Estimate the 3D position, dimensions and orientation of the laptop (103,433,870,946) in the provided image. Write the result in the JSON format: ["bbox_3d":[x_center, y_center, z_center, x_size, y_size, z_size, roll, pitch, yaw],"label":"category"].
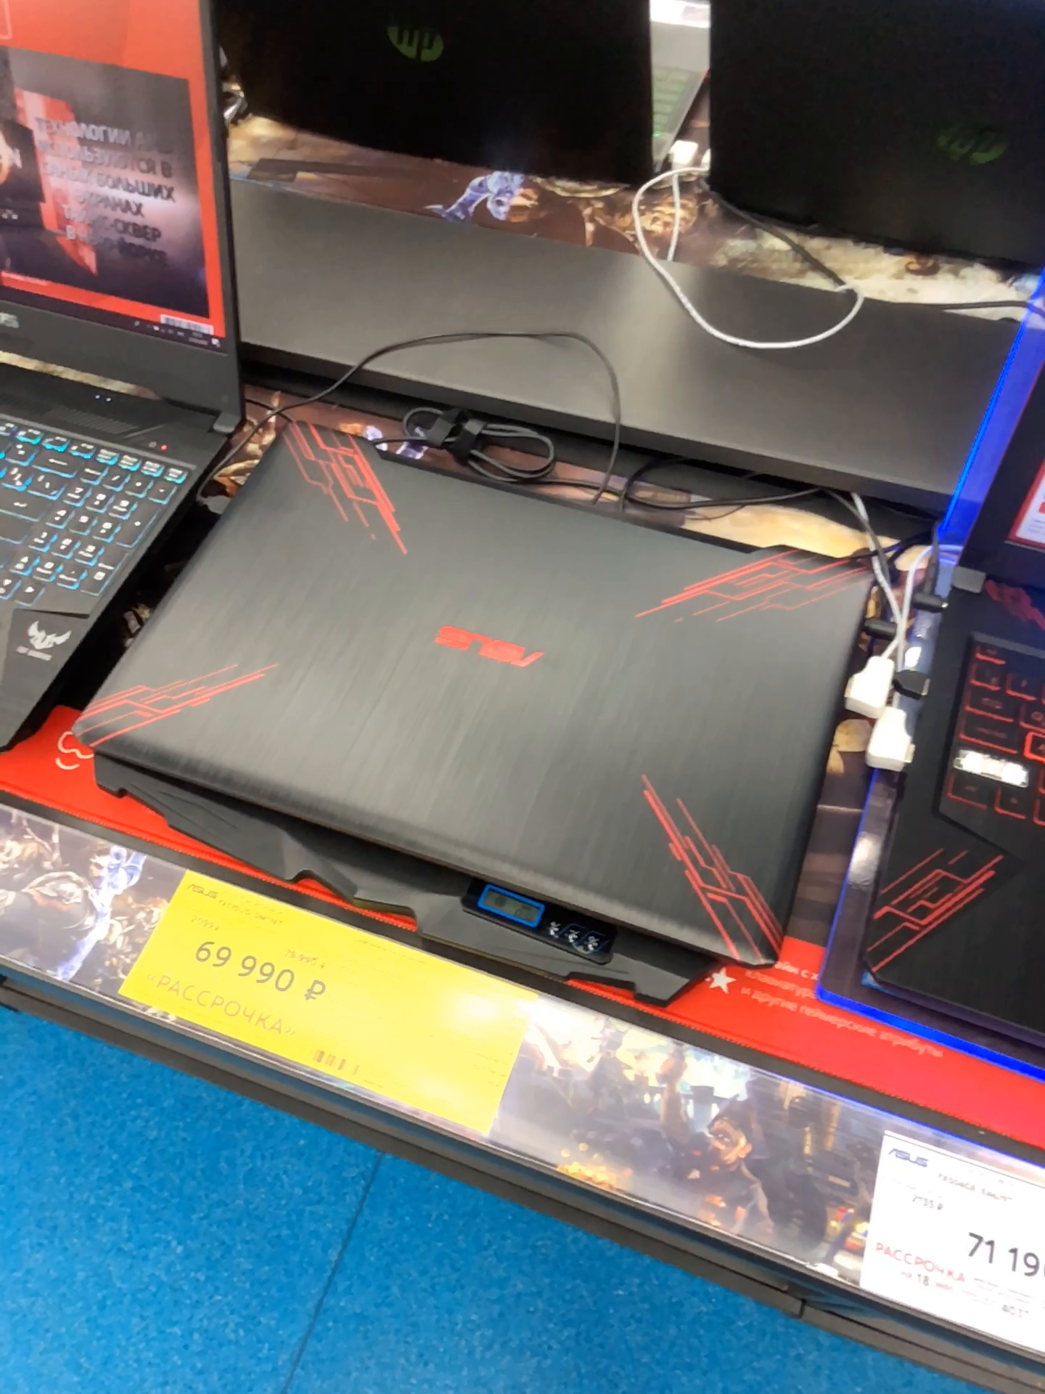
[{"bbox_3d":[-0.011,-0.028,0.629,0.358,0.003,0.240,16,56,13],"label":"laptop"}]
